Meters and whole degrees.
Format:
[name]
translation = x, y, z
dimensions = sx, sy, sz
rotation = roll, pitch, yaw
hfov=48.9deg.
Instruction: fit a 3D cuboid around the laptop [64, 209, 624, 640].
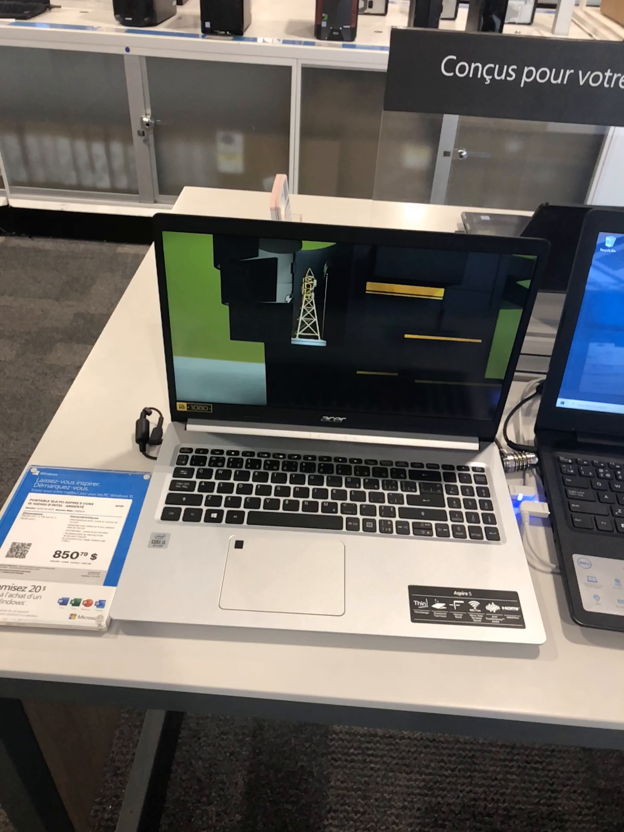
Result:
[laptop]
translation = 0.020, -0.004, 0.596
dimensions = 0.349, 0.229, 0.268
rotation = 3, 40, 1
